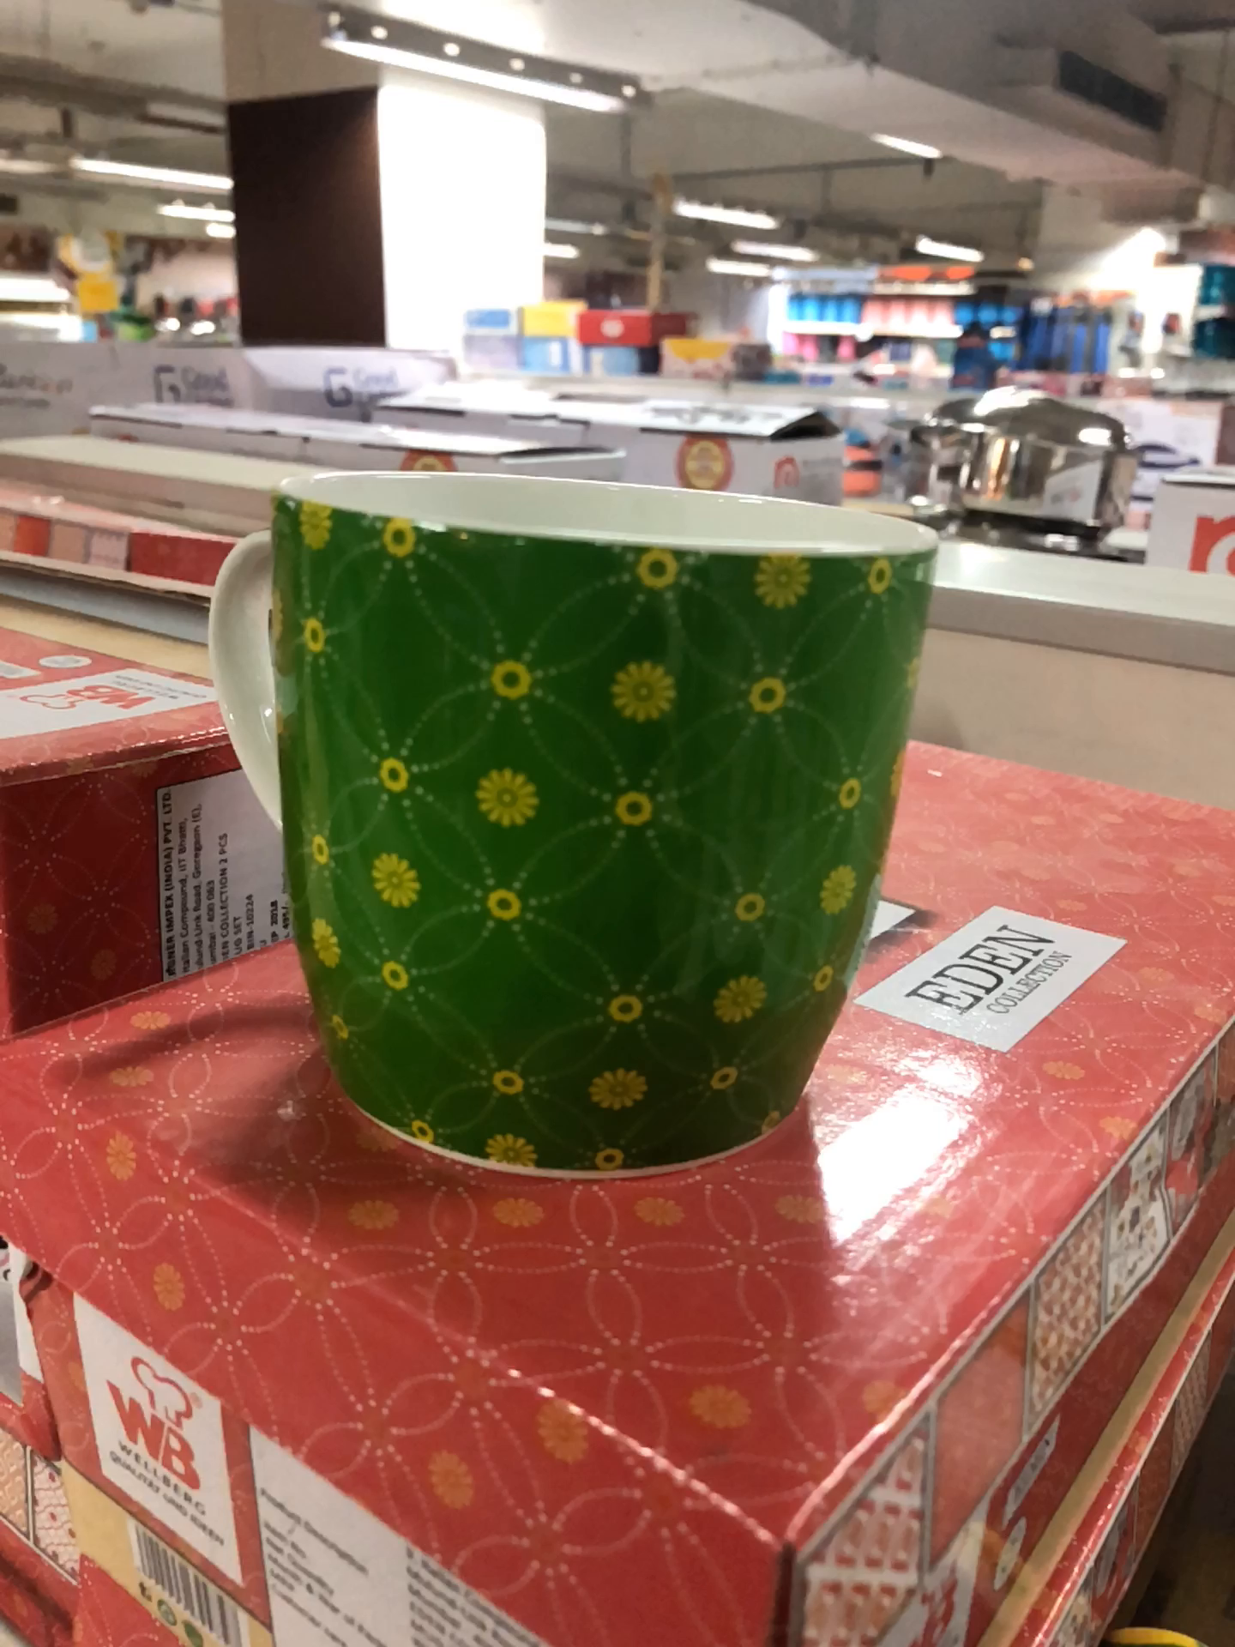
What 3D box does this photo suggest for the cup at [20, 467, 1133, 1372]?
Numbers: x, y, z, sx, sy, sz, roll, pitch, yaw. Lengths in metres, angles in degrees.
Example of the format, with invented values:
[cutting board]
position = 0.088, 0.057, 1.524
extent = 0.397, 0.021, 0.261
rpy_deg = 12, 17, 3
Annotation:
[cup]
position = -0.007, -0.005, 0.197
extent = 0.120, 0.080, 0.090
rpy_deg = 15, 21, 35
